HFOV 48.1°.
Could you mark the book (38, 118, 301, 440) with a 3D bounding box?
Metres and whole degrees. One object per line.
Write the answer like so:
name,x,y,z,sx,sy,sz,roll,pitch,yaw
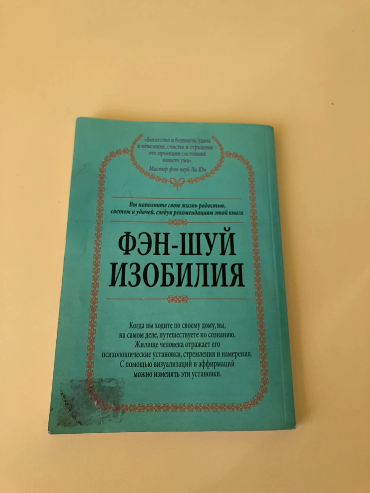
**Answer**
book,-0.007,0.010,0.222,0.118,0.020,0.166,1,71,-4
